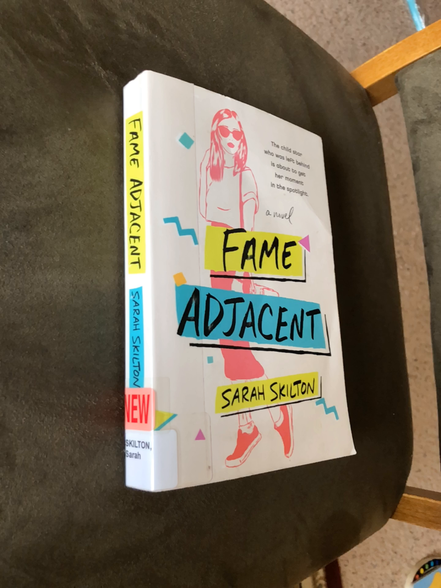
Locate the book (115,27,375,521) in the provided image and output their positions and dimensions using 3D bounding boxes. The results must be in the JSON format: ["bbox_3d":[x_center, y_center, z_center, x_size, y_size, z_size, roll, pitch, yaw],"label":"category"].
[{"bbox_3d":[0.016,-0.010,0.271,0.141,0.040,0.220,5,78,-37],"label":"book"}]
